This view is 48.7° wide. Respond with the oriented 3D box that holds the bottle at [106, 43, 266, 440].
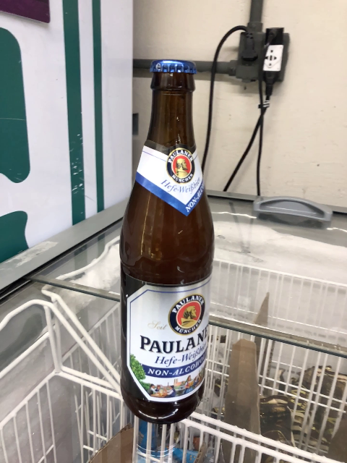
[{"bbox_3d":[0.000,0.012,0.256,0.070,0.239,0.060,-8,22,-27],"label":"bottle"}]
